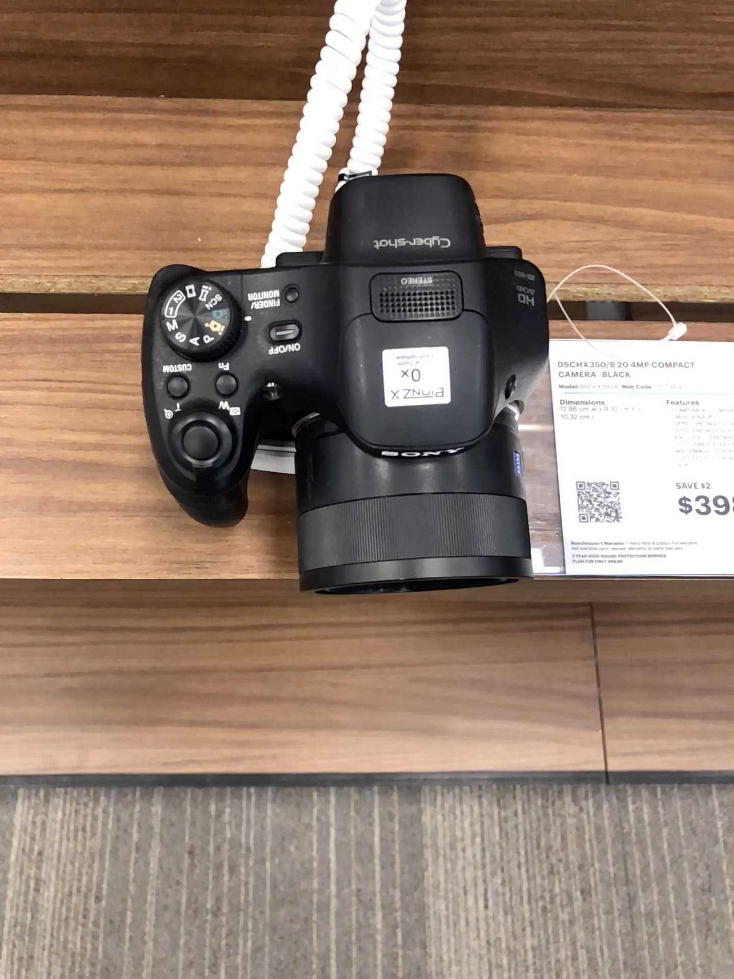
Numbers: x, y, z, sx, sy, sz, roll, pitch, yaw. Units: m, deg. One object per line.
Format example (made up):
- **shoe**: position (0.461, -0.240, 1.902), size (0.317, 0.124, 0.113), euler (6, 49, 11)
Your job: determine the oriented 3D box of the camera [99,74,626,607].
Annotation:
- **camera**: position (-0.005, -0.039, 0.266), size (0.130, 0.100, 0.140), euler (-2, 77, -3)
